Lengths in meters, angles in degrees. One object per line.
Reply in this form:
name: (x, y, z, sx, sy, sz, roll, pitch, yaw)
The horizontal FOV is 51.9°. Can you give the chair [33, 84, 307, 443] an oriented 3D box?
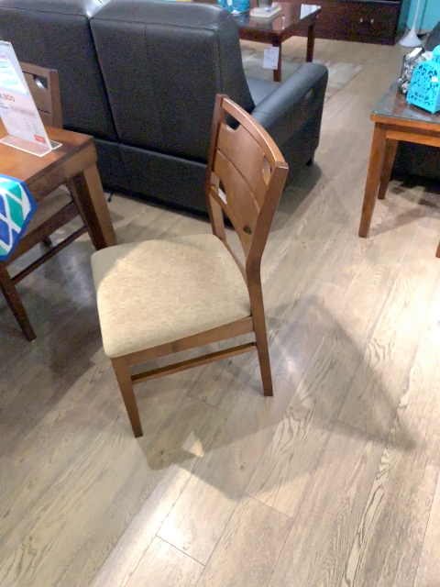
chair: (-0.123, -0.055, 1.305, 0.530, 0.827, 0.472, -14, 45, -9)
